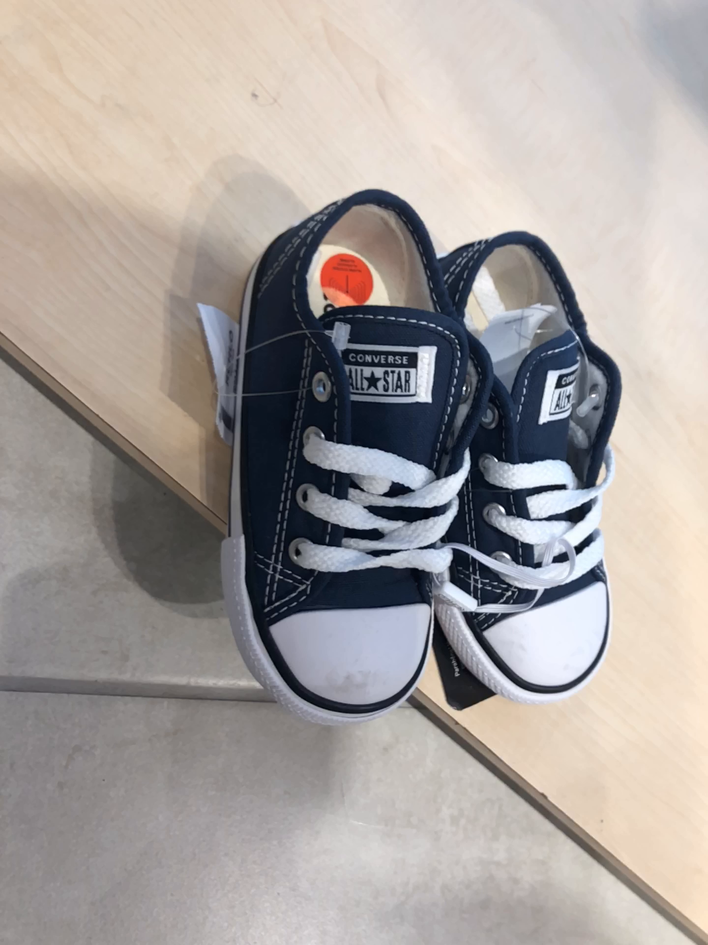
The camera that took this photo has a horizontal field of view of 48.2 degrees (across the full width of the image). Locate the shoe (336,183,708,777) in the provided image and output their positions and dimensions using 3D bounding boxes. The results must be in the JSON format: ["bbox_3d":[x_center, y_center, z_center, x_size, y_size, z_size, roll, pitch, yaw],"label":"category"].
[{"bbox_3d":[0.056,-0.001,0.269,0.080,0.060,0.170,-9,89,-27],"label":"shoe"}]

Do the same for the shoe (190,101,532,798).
[{"bbox_3d":[-0.001,-0.005,0.236,0.080,0.060,0.170,2,84,-26],"label":"shoe"}]
